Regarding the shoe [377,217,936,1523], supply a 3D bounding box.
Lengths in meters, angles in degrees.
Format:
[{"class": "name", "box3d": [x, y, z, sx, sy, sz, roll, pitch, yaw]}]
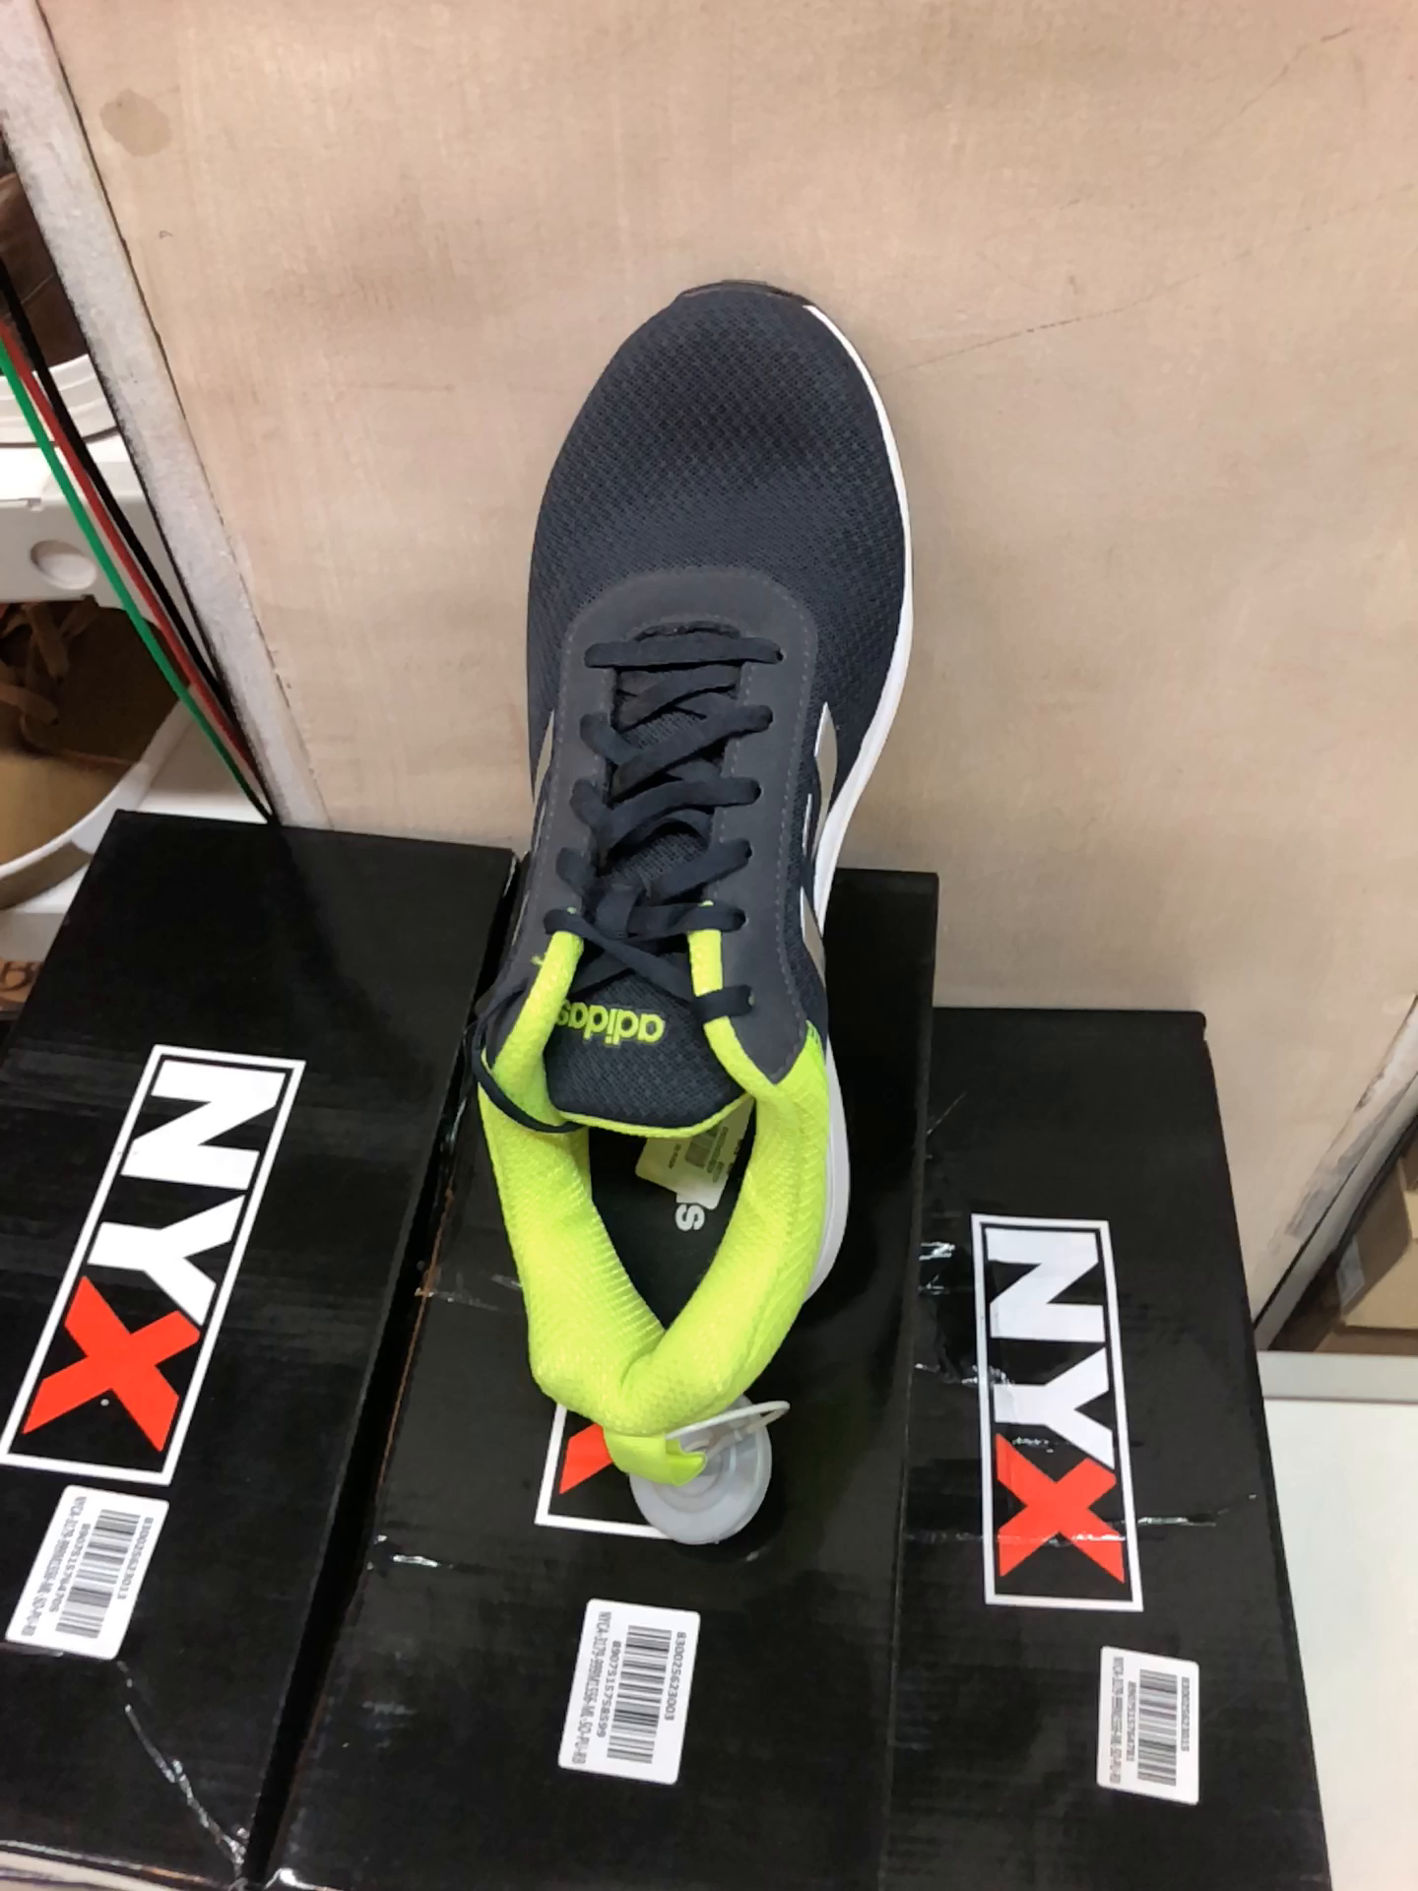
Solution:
[{"class": "shoe", "box3d": [-0.006, -0.018, 0.383, 0.104, 0.098, 0.272, 3, 89, 11]}]
